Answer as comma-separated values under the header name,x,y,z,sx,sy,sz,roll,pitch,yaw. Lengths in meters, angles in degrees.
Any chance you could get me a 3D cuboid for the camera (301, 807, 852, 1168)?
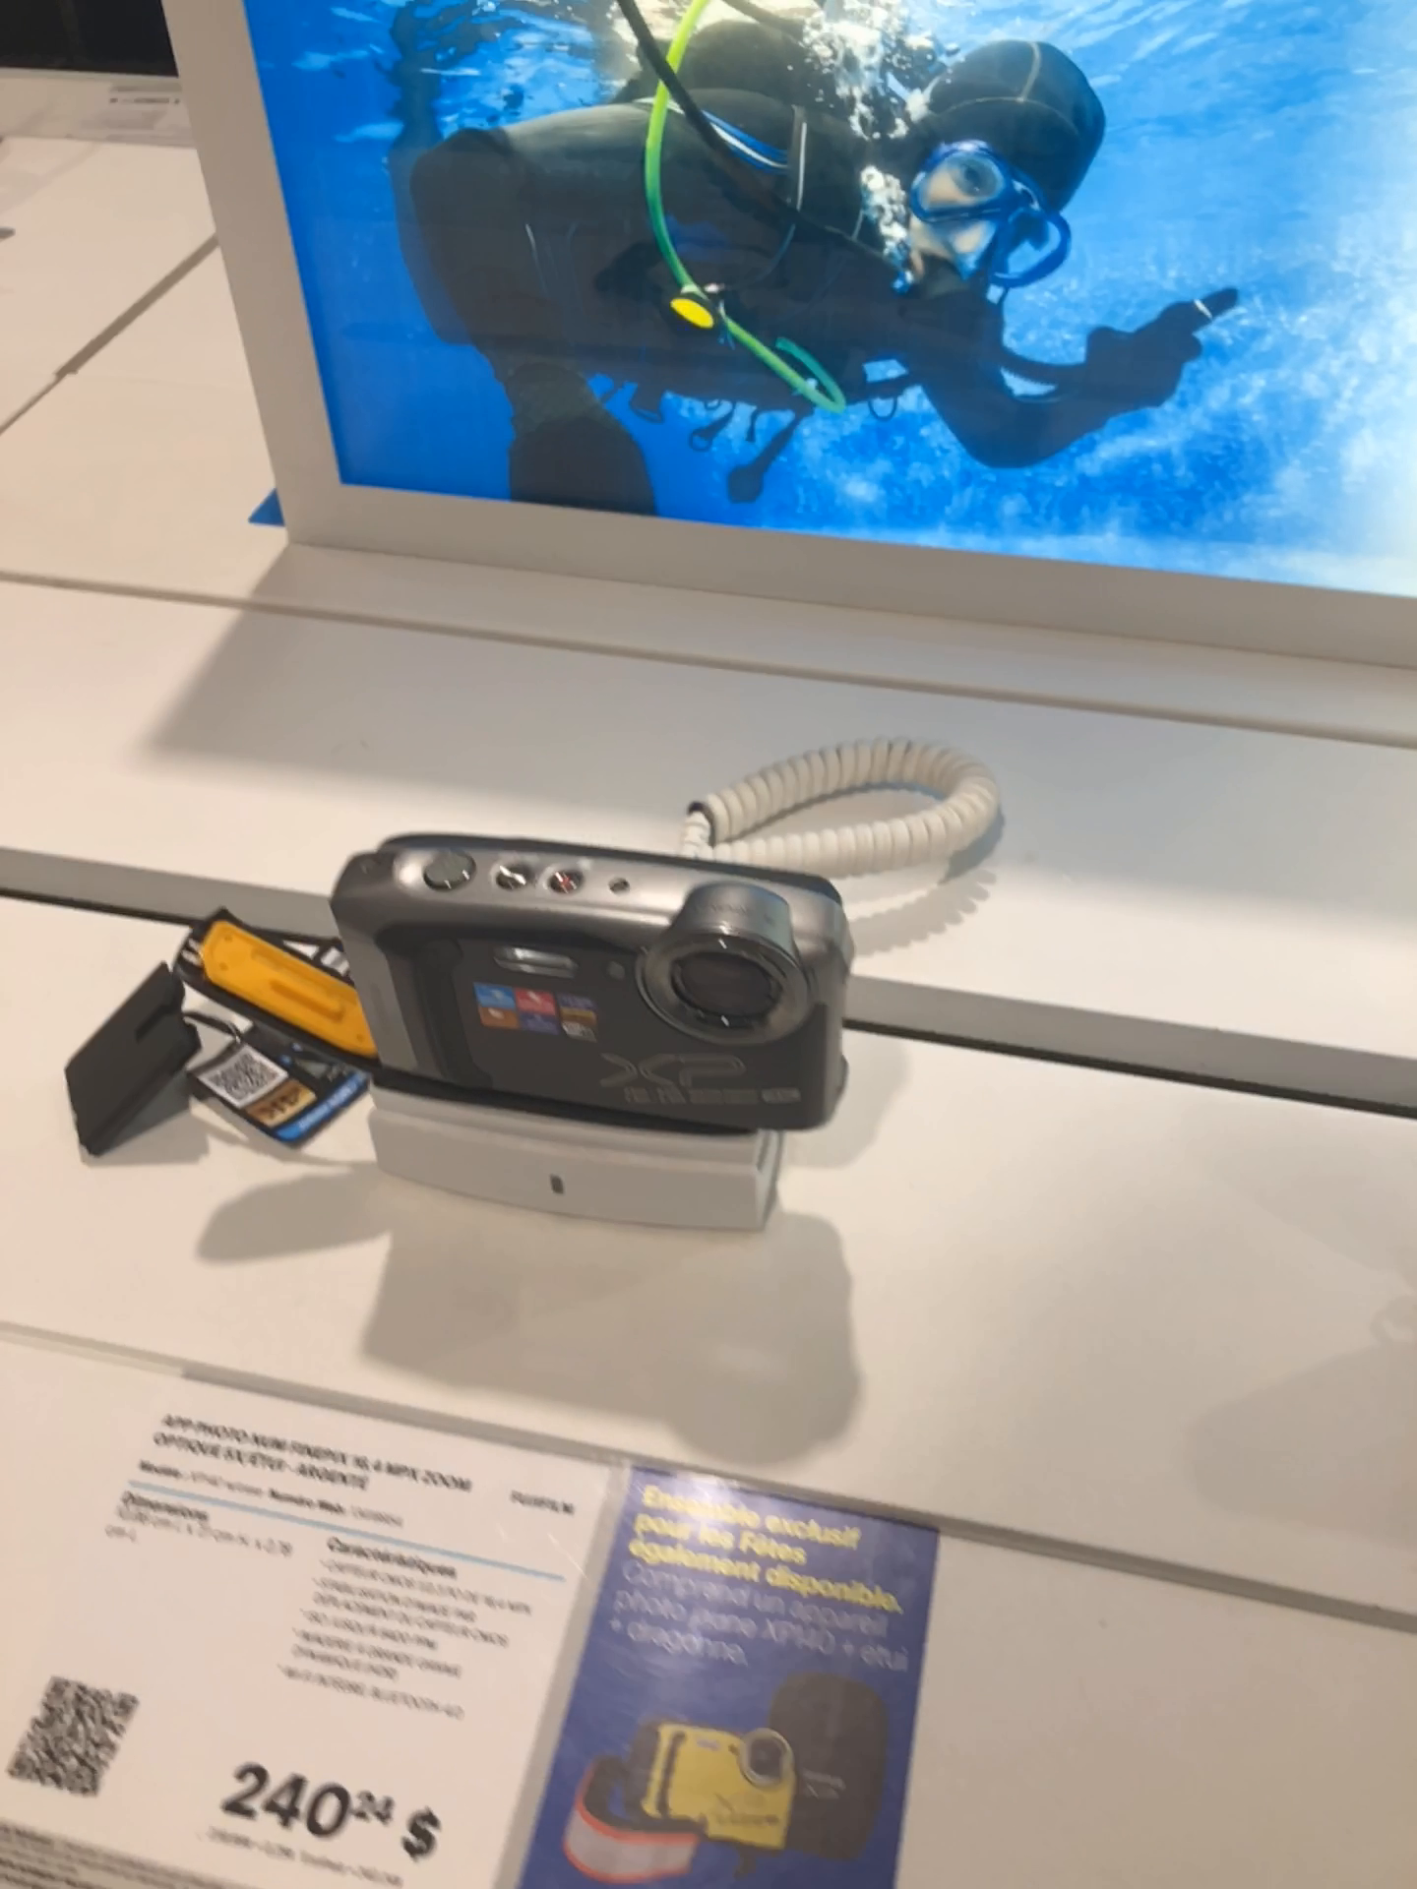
name,x,y,z,sx,sy,sz,roll,pitch,yaw
camera,-0.025,0.010,0.333,0.106,0.069,0.023,6,45,8
